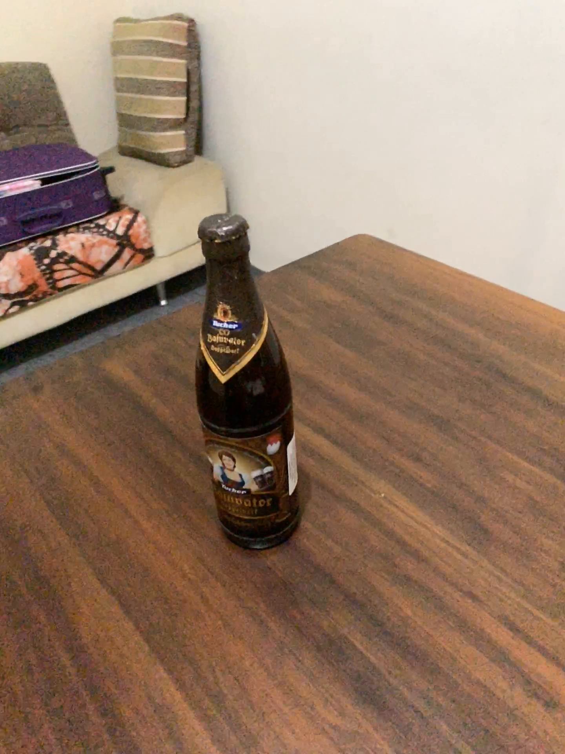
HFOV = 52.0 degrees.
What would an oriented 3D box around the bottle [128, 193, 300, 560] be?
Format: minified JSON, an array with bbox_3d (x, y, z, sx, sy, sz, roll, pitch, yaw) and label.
[{"bbox_3d":[-0.036,0.014,0.414,0.070,0.268,0.060,9,38,18],"label":"bottle"}]
